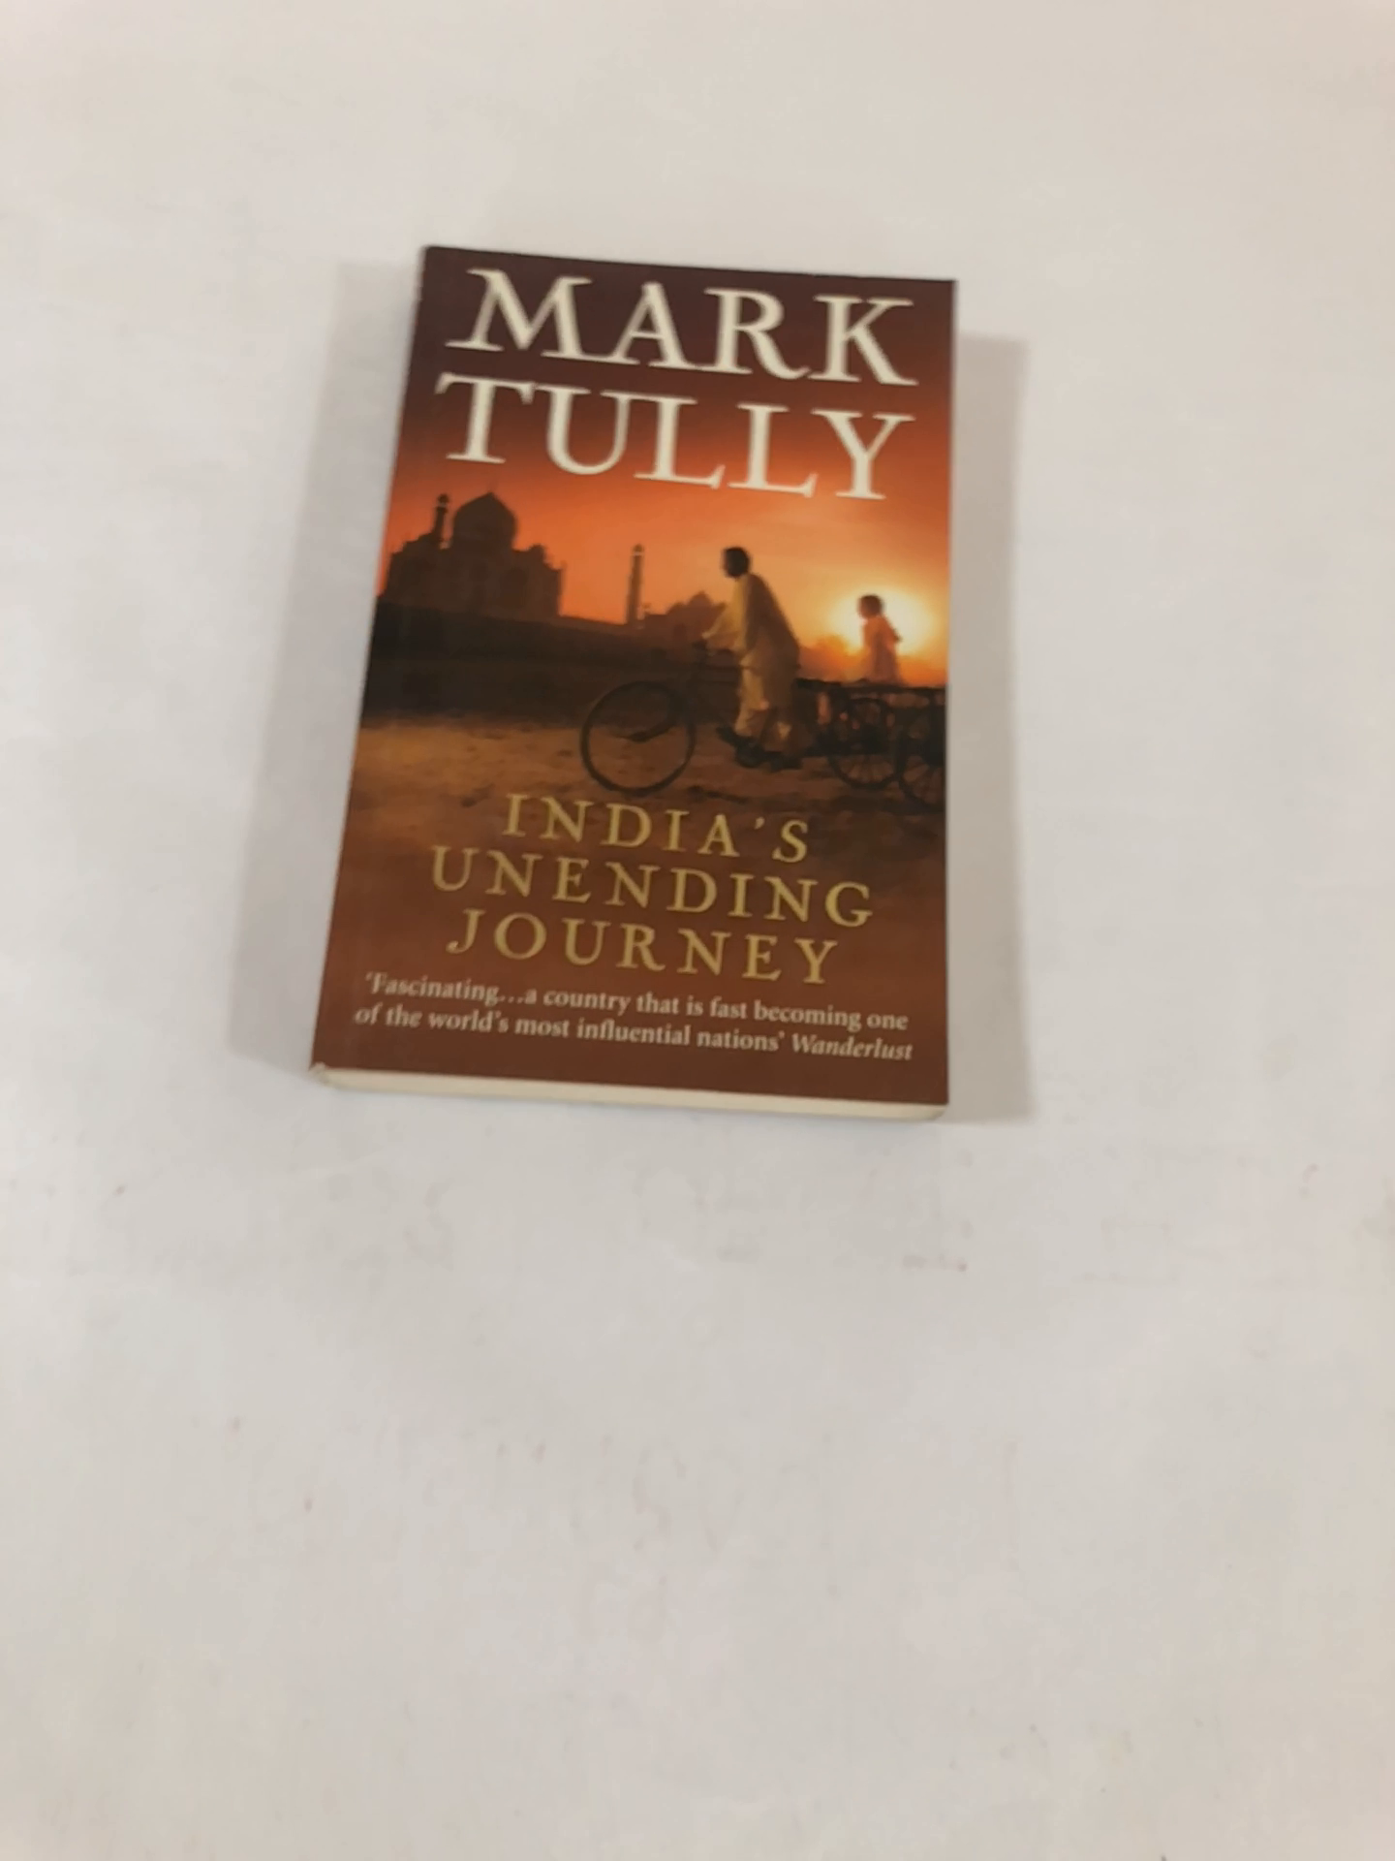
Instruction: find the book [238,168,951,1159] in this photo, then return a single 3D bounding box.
[{"bbox_3d":[-0.014,-0.062,0.339,0.130,0.030,0.210,5,71,-4],"label":"book"}]
